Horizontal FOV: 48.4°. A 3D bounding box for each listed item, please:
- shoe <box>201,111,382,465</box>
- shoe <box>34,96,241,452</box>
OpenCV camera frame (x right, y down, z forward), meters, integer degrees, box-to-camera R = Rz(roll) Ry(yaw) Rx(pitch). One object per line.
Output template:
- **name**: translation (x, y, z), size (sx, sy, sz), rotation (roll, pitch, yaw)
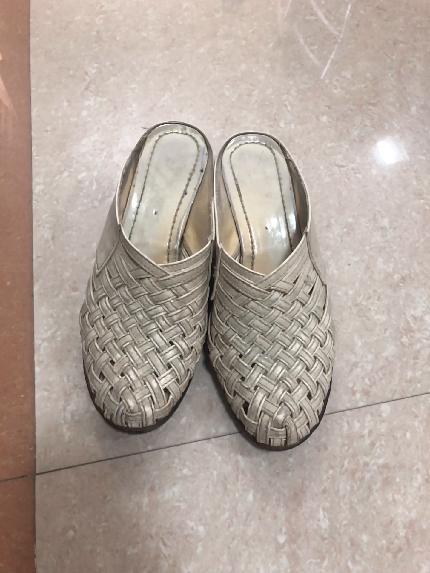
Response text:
- **shoe**: translation (0.040, -0.007, 0.342), size (0.090, 0.080, 0.240), rotation (-3, 62, 1)
- **shoe**: translation (-0.038, -0.018, 0.343), size (0.090, 0.080, 0.240), rotation (6, 62, 3)
